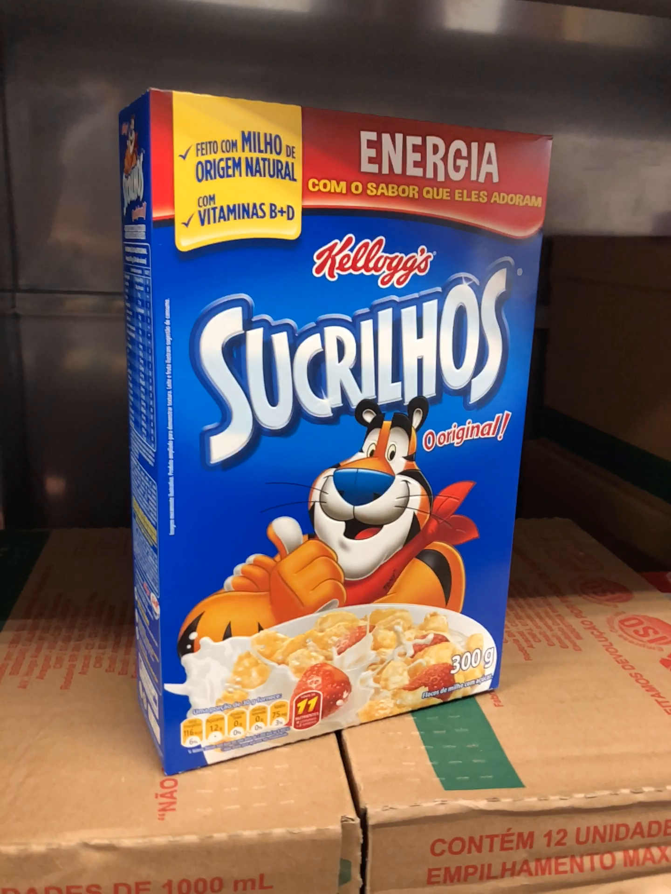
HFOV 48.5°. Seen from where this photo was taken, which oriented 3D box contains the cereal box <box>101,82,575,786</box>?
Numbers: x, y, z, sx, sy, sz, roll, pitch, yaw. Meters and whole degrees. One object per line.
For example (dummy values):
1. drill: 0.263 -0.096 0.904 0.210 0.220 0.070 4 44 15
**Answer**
1. cereal box: -0.001 -0.004 0.315 0.170 0.249 0.060 -5 17 -24
